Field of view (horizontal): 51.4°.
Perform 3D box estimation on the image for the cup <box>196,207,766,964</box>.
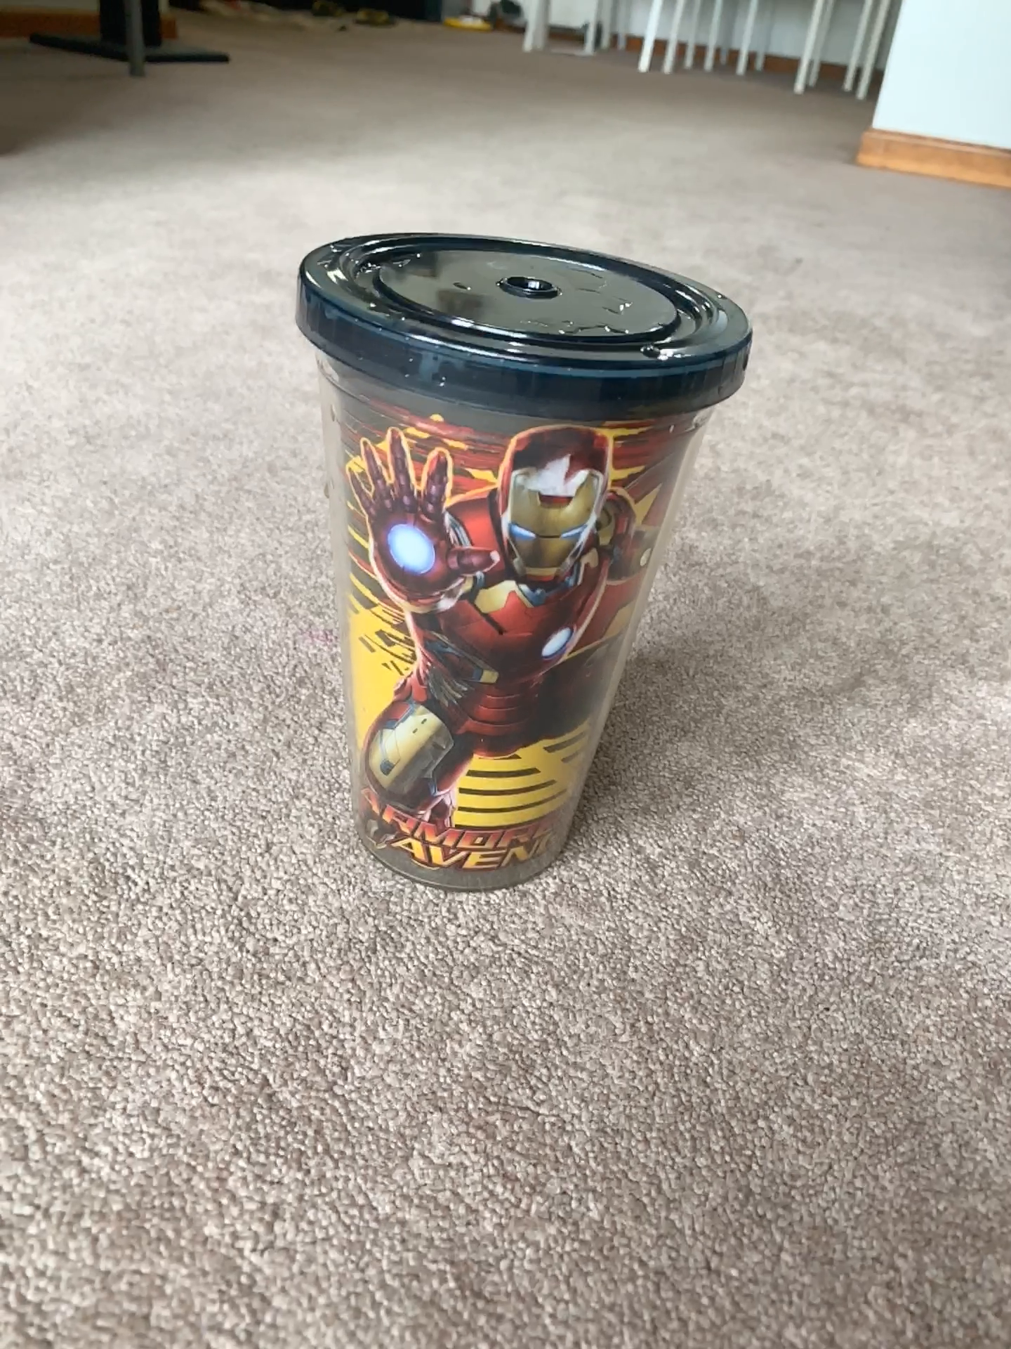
[{"bbox_3d":[-0.003,-0.026,0.258,0.100,0.139,0.101,5,33,-3],"label":"cup"}]
